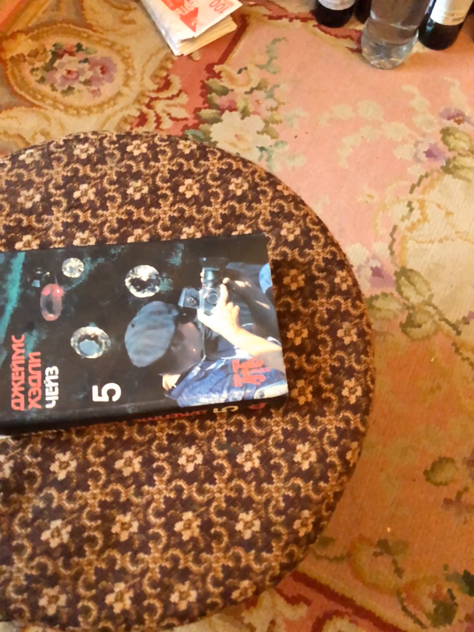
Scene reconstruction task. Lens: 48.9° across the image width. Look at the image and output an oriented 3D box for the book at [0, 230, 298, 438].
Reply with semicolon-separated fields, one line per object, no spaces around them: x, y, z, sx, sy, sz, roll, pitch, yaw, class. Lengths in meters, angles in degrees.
-0.067;0.007;0.383;0.205;0.020;0.140;-3;71;-9;book
